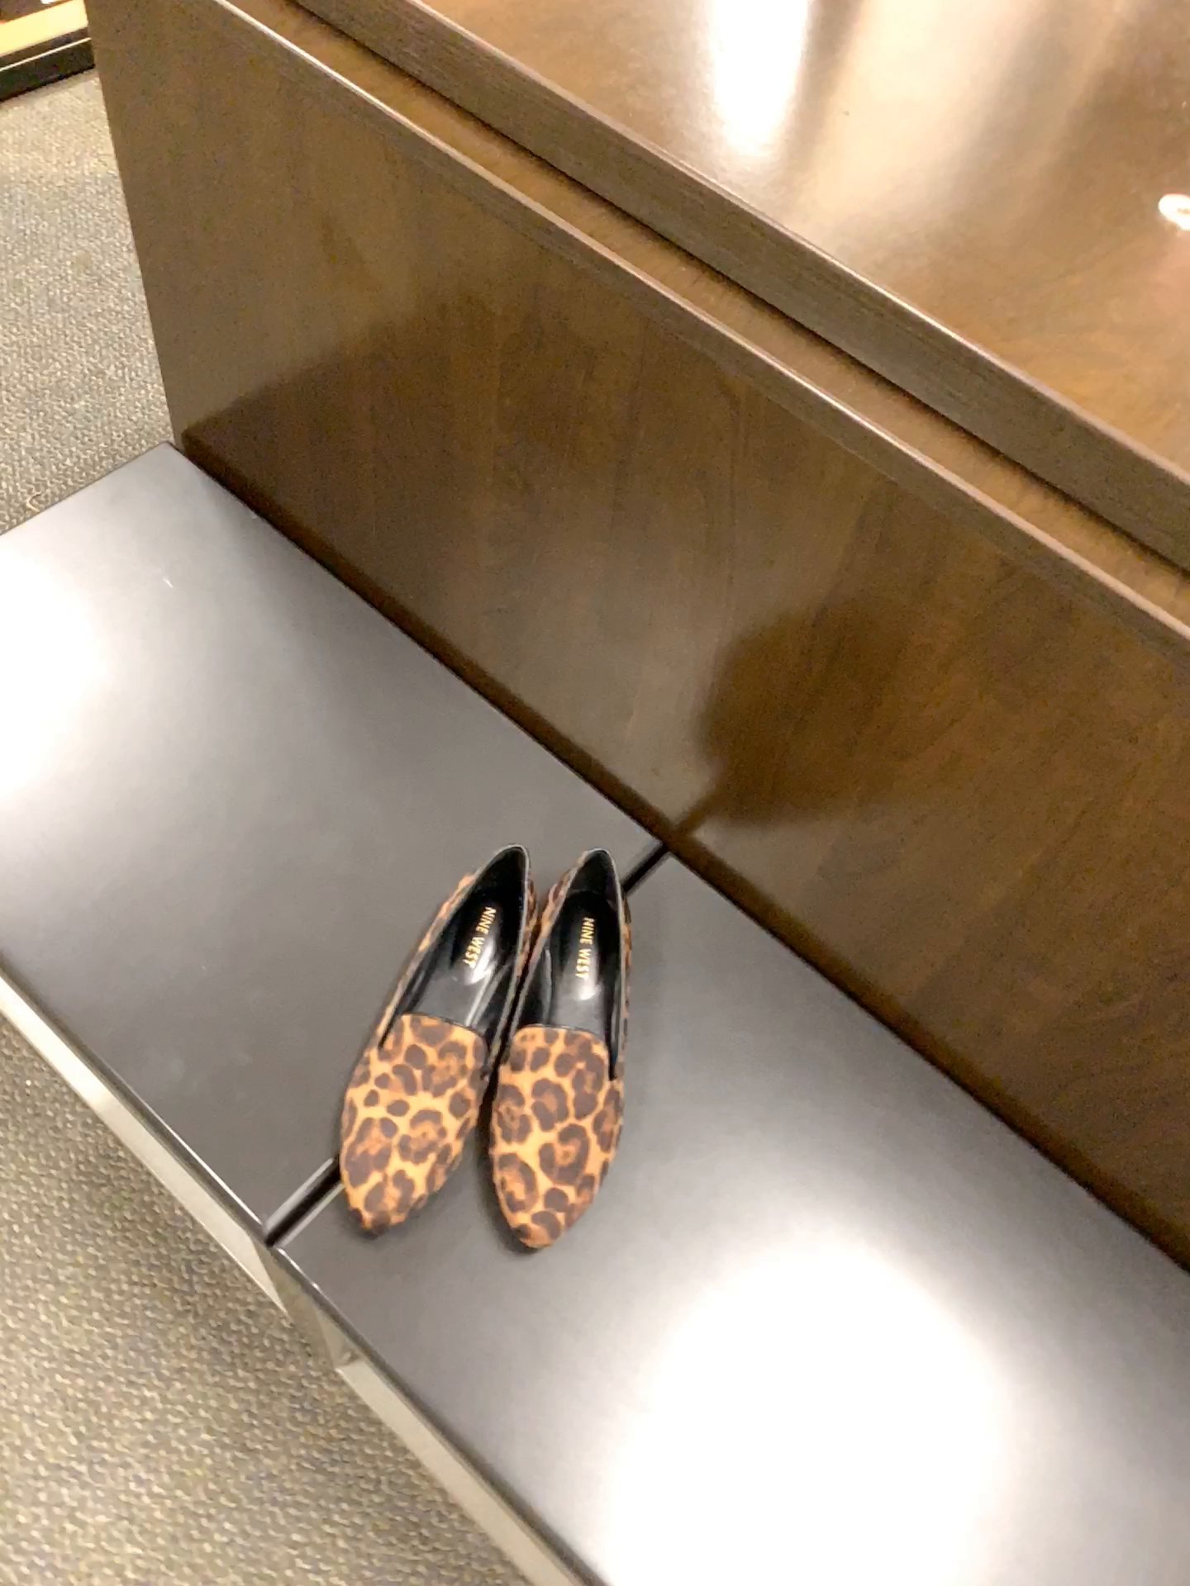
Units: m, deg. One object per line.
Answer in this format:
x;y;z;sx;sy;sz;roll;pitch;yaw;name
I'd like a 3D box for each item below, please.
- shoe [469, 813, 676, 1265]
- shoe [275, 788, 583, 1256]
-0.011;0.147;0.747;0.090;0.090;0.248;9;57;-3;shoe
-0.093;0.132;0.731;0.090;0.090;0.248;19;57;3;shoe
